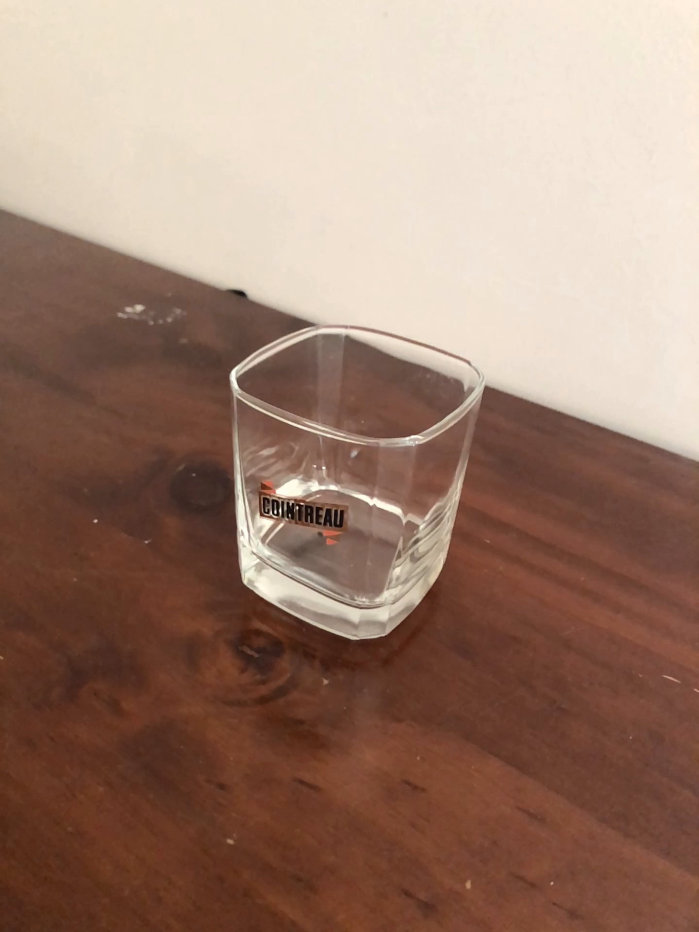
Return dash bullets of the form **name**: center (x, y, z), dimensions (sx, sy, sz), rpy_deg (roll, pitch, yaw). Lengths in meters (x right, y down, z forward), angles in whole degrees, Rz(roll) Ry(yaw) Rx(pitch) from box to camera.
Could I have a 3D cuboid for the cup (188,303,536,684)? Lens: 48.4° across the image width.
- **cup**: center (0.004, 0.004, 0.279), dimensions (0.086, 0.085, 0.081), rpy_deg (3, 33, -2)
